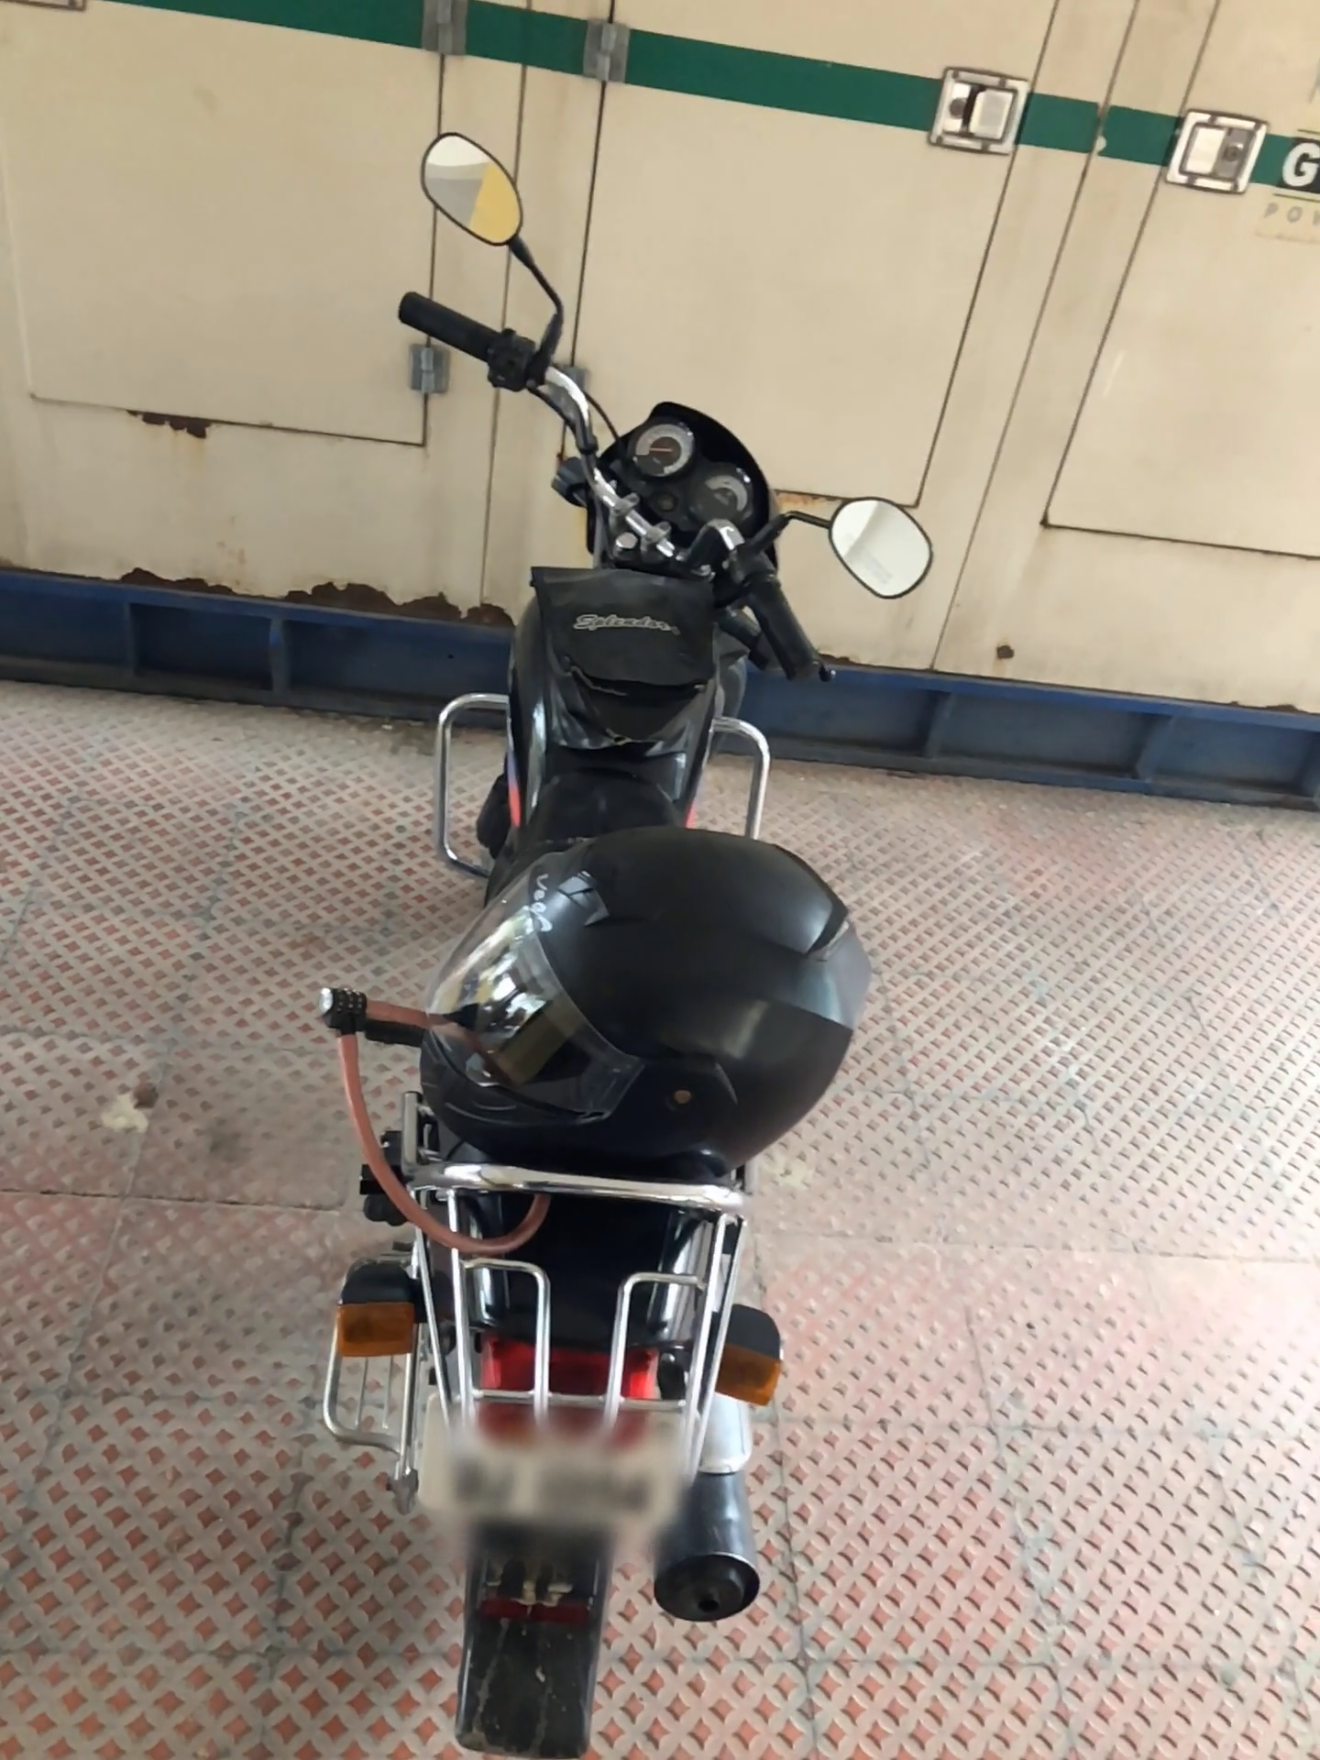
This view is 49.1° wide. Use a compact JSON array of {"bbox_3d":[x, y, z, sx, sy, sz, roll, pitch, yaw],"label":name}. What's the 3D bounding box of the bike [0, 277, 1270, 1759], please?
[{"bbox_3d":[-0.021,0.039,1.882,0.735,1.087,1.869,11,35,-1],"label":"bike"}]
